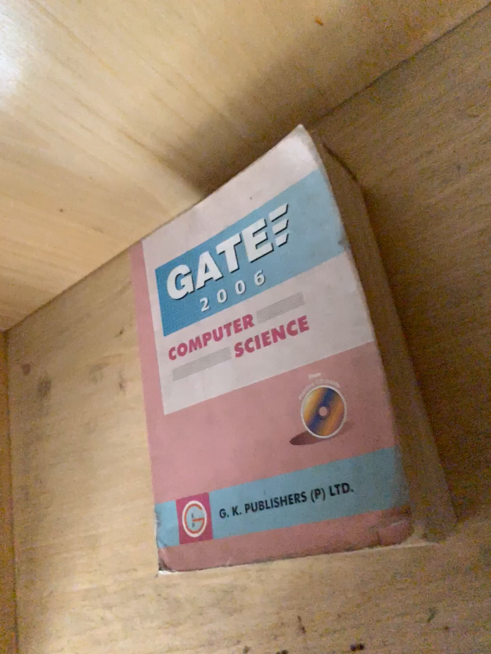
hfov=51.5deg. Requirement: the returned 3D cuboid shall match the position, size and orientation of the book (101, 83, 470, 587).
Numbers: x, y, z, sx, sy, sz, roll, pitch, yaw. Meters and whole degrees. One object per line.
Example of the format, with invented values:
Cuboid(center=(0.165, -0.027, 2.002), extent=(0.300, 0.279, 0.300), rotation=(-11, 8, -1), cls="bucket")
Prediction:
Cuboid(center=(0.003, 0.013, 0.345), extent=(0.191, 0.080, 0.271), rotation=(-23, 65, 30), cls="book")
